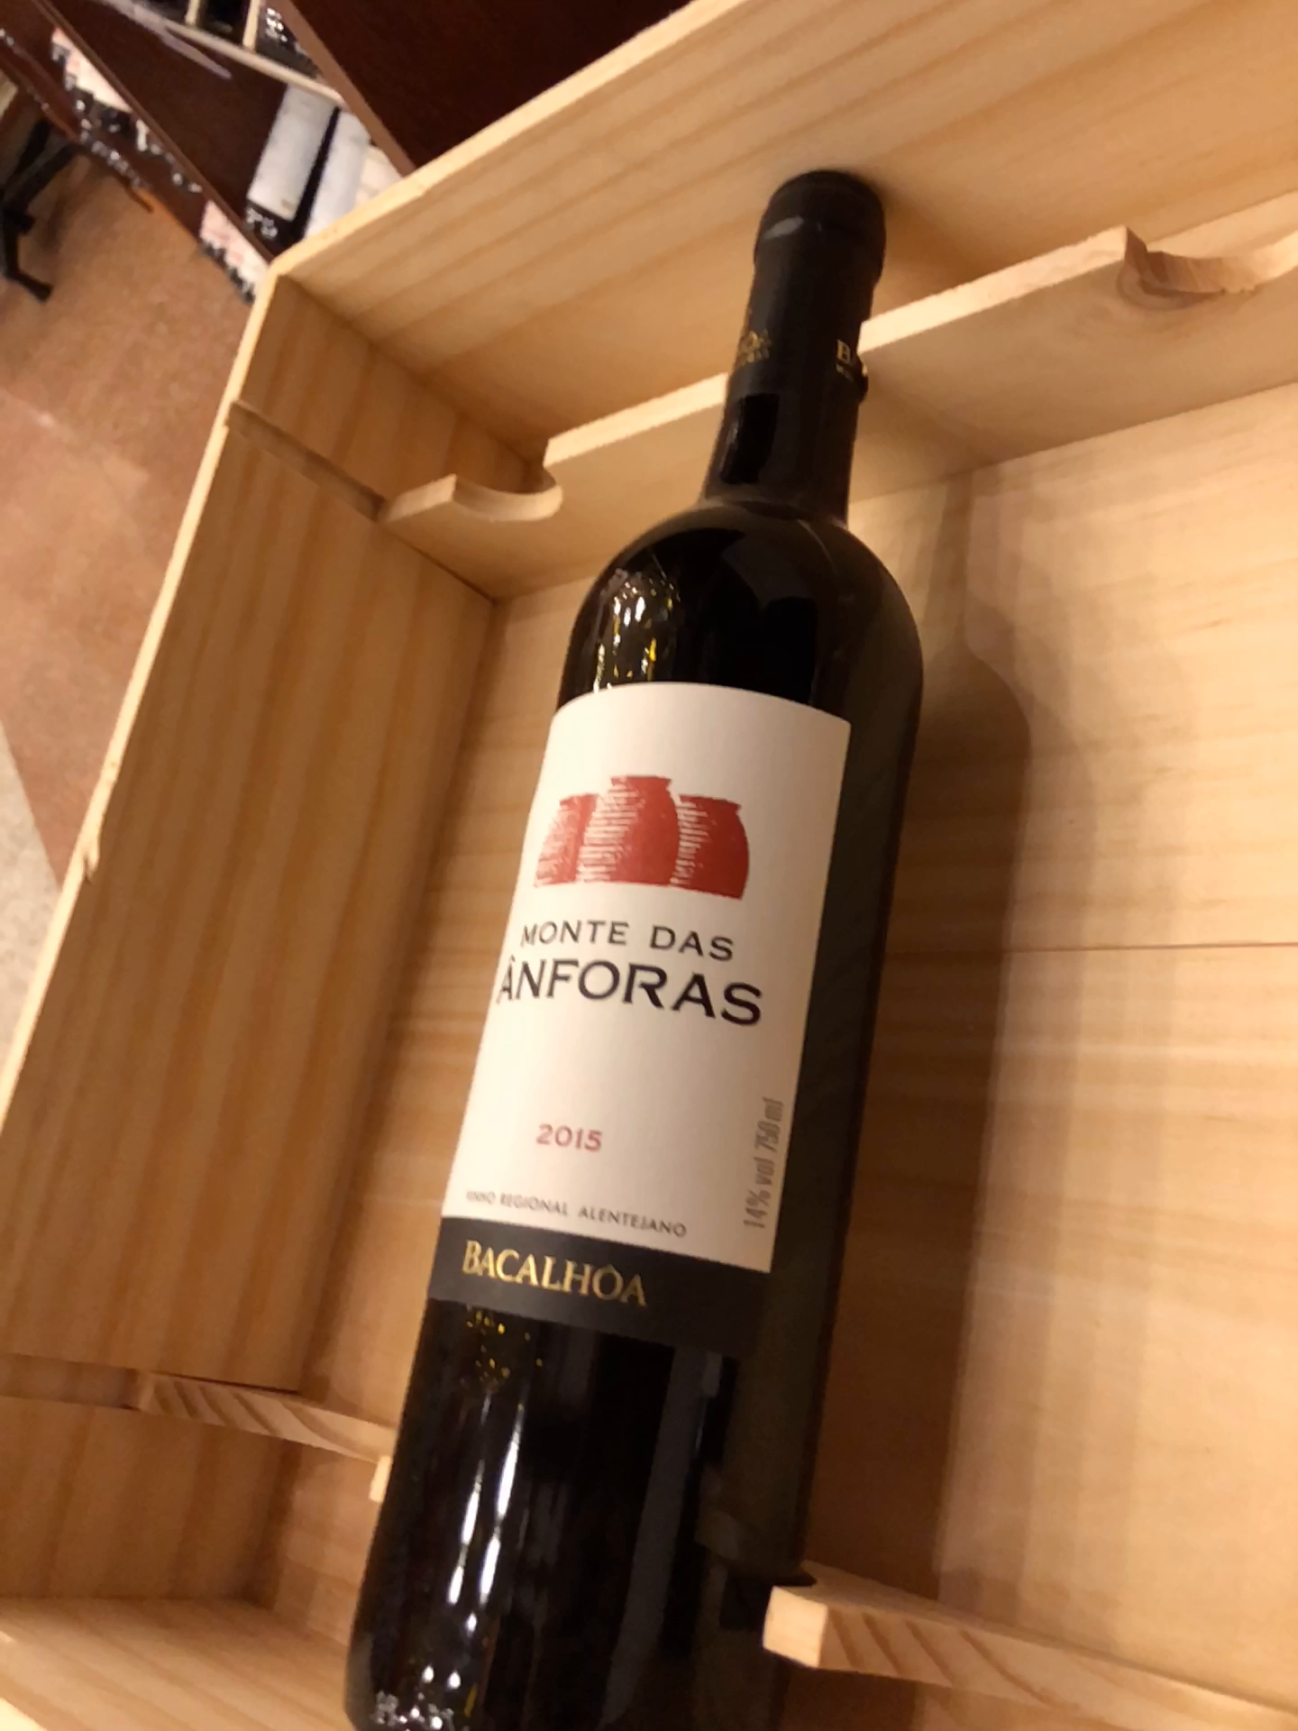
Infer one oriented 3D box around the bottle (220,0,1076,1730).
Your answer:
[{"bbox_3d":[0.010,-0.002,0.272,0.080,0.060,0.320,-2,70,42],"label":"bottle"}]
